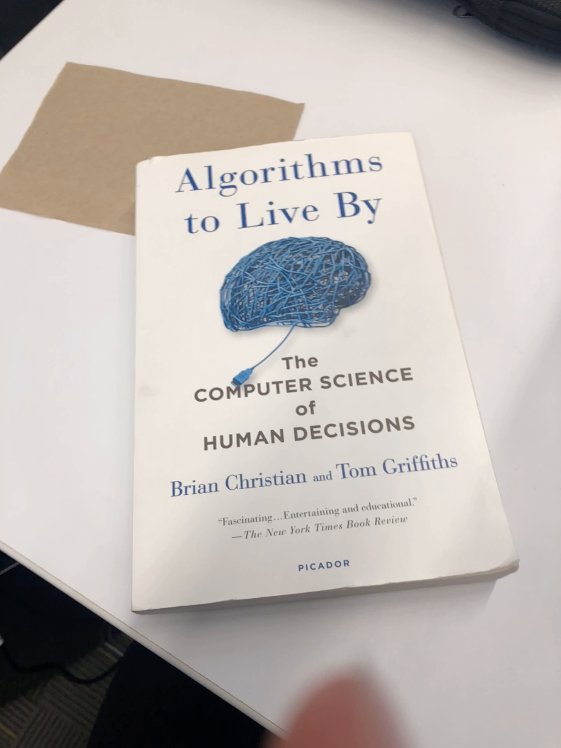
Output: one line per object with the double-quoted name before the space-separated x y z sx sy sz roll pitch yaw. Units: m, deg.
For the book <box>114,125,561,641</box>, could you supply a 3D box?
"book" 0.013 -0.008 0.283 0.160 0.040 0.220 -6 64 1
